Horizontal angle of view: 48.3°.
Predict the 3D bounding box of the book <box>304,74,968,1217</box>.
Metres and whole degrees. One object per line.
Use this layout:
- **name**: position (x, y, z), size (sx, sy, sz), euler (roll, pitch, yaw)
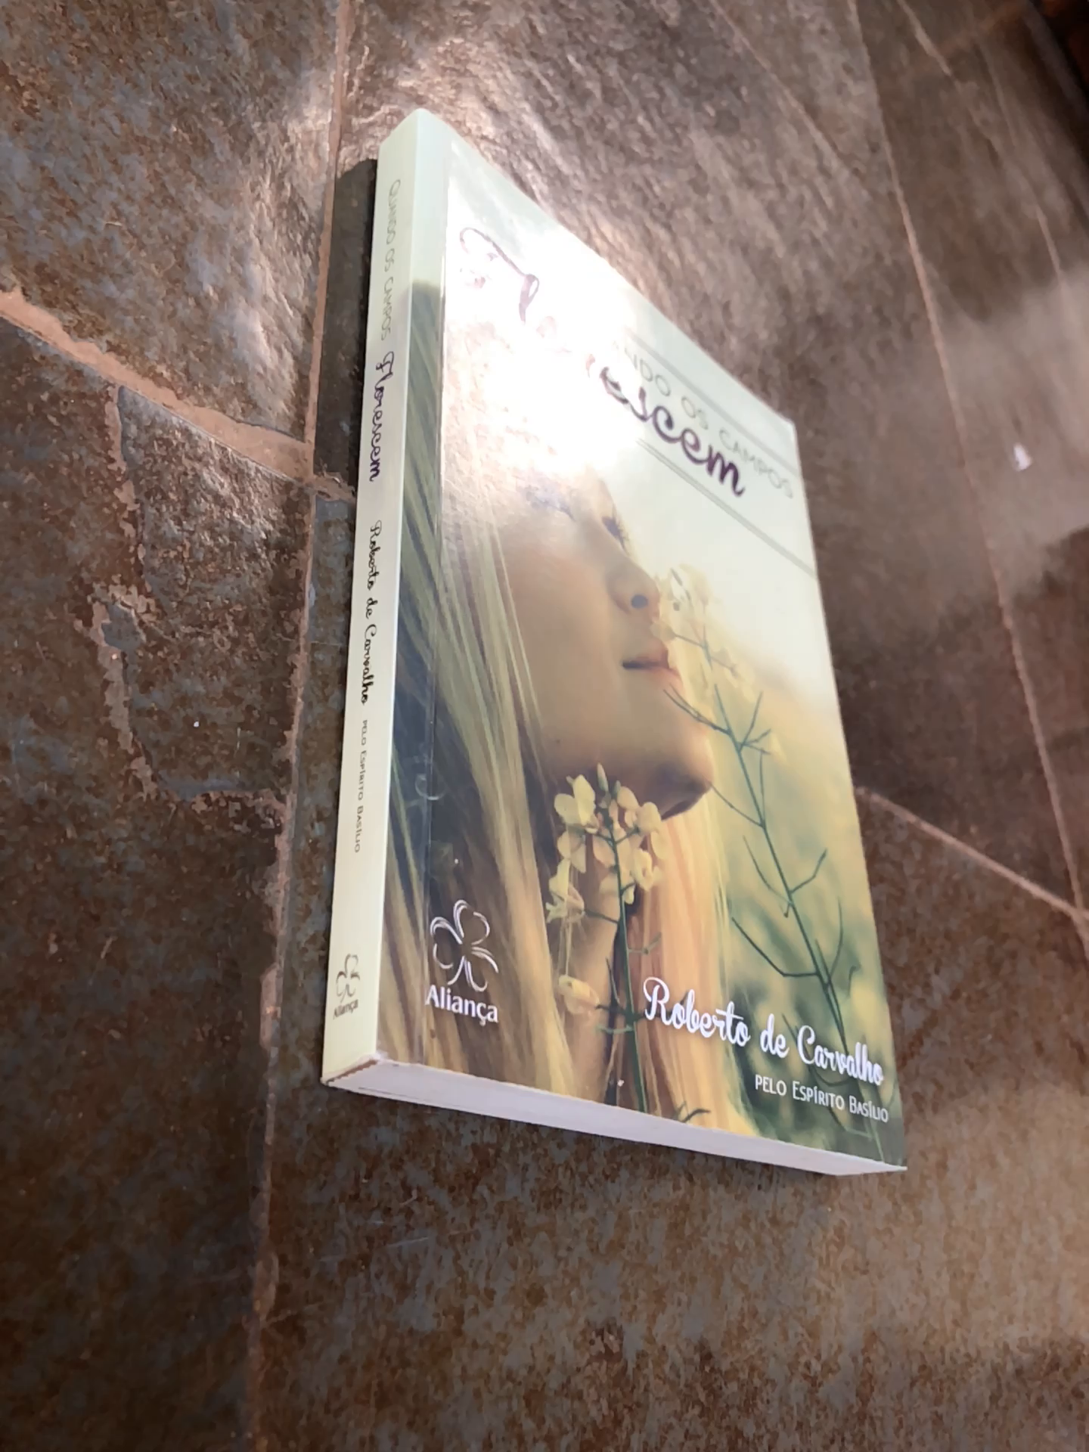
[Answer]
- **book**: position (0.028, -0.016, 0.275), size (0.162, 0.021, 0.226), euler (26, 52, -39)
